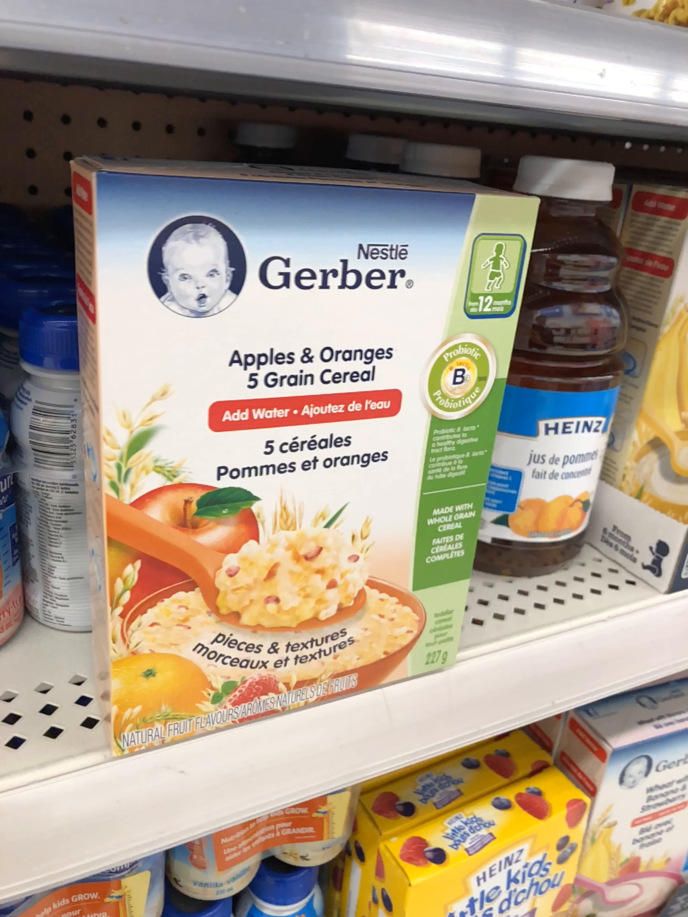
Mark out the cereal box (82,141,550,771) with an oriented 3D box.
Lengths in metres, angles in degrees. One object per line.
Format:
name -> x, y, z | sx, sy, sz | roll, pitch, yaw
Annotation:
cereal box -> -0.015, 0.000, 0.279 | 0.140, 0.199, 0.050 | -6, 26, -28
